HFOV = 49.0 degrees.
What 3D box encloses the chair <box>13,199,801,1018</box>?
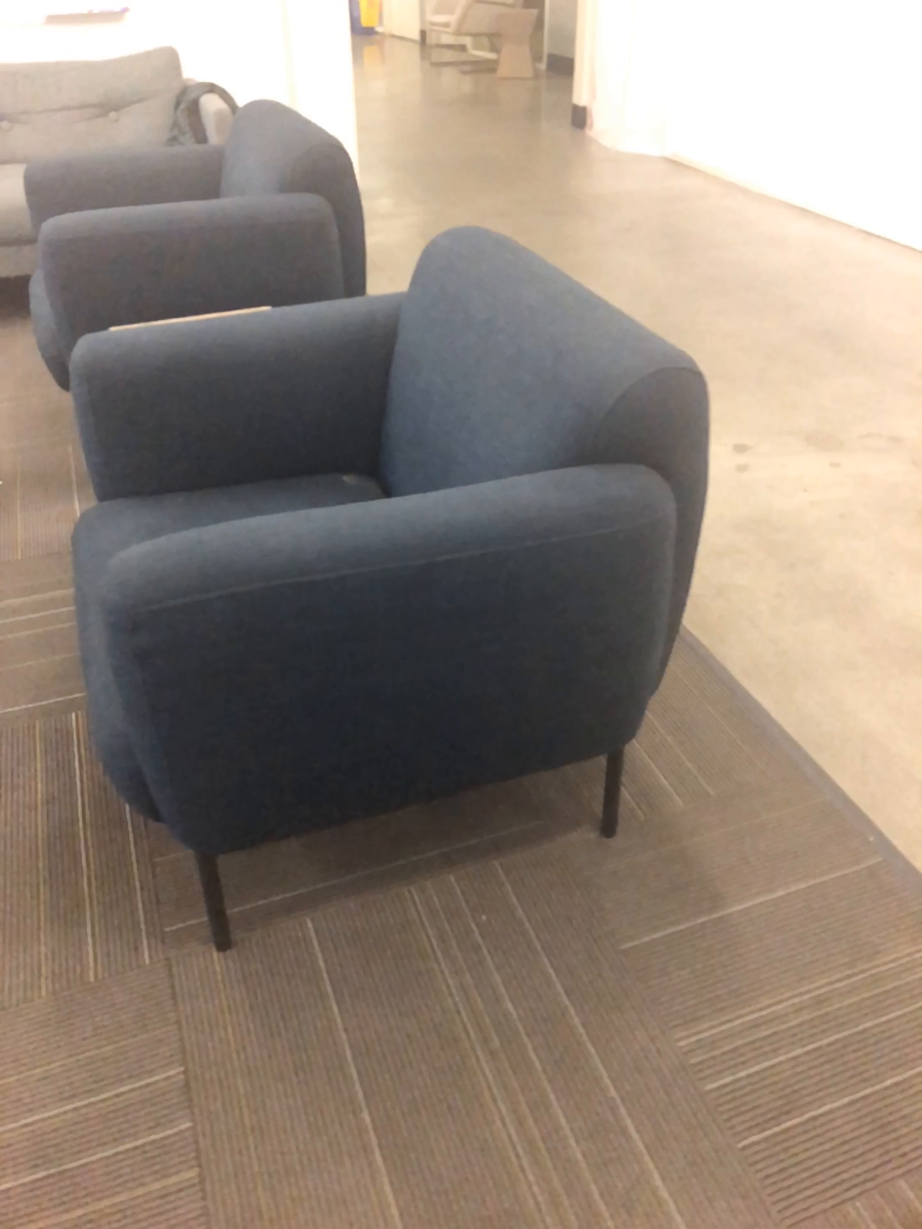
[{"bbox_3d":[-0.163,-0.116,1.617,0.842,0.783,0.926,-12,36,-17],"label":"chair"}]
